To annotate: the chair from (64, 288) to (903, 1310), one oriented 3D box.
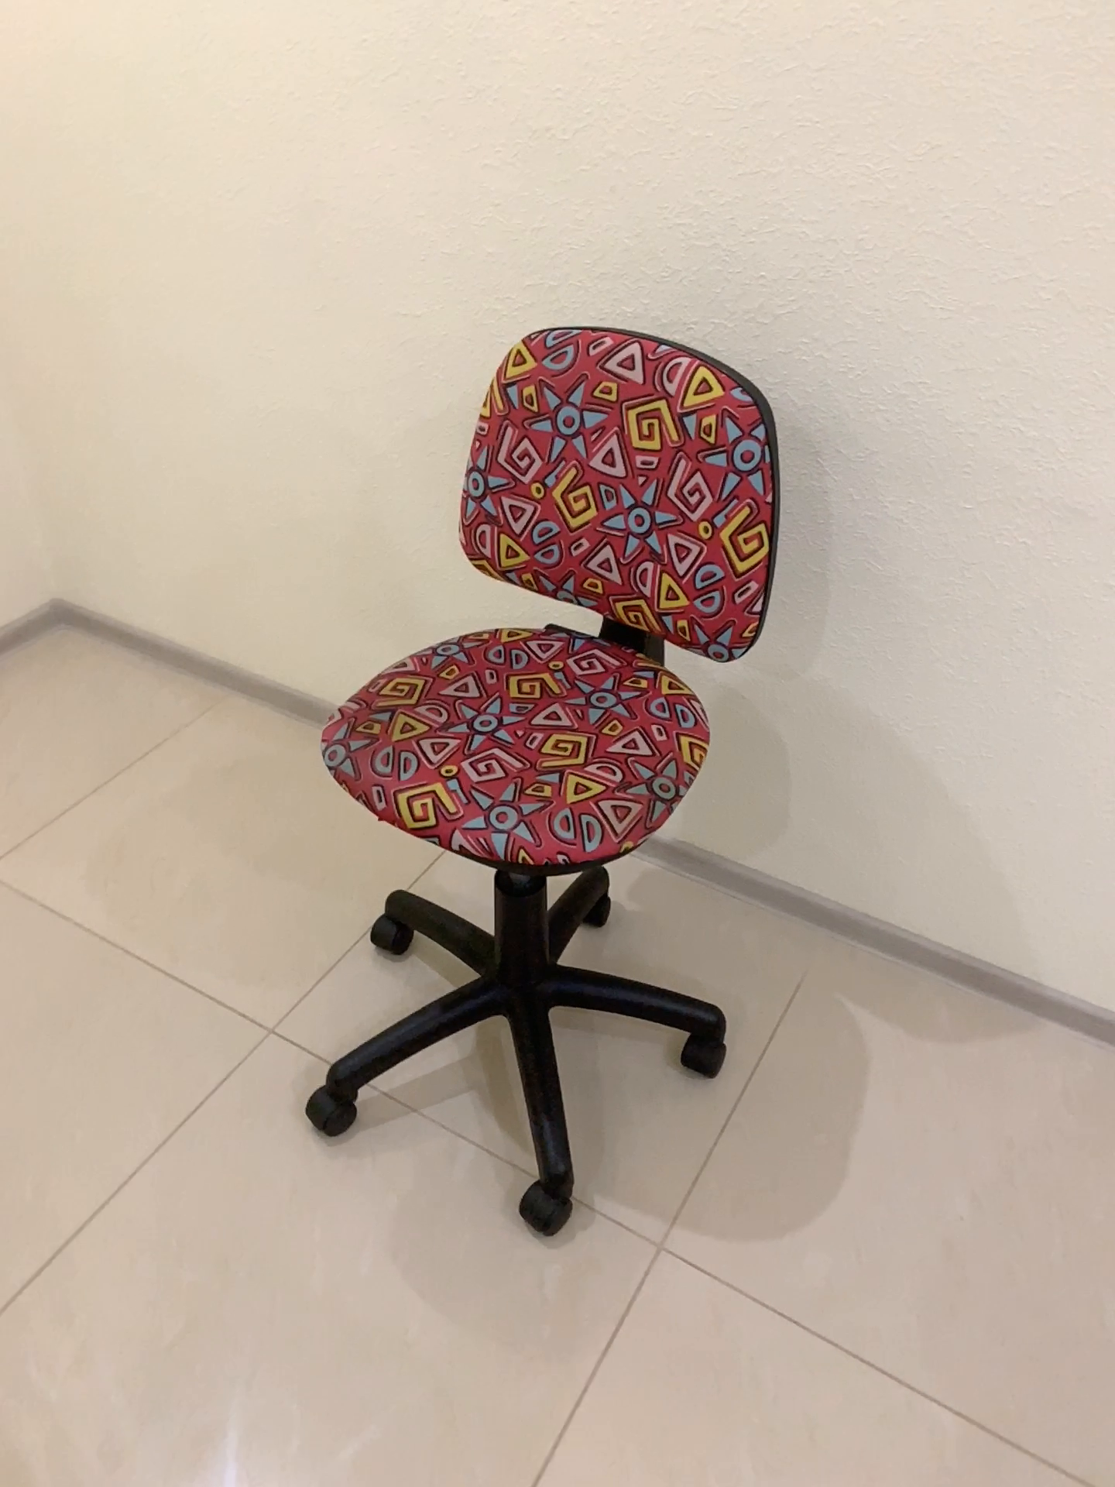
[{"bbox_3d":[-0.046,0.053,1.297,0.551,0.884,0.542,20,42,23],"label":"chair"}]
